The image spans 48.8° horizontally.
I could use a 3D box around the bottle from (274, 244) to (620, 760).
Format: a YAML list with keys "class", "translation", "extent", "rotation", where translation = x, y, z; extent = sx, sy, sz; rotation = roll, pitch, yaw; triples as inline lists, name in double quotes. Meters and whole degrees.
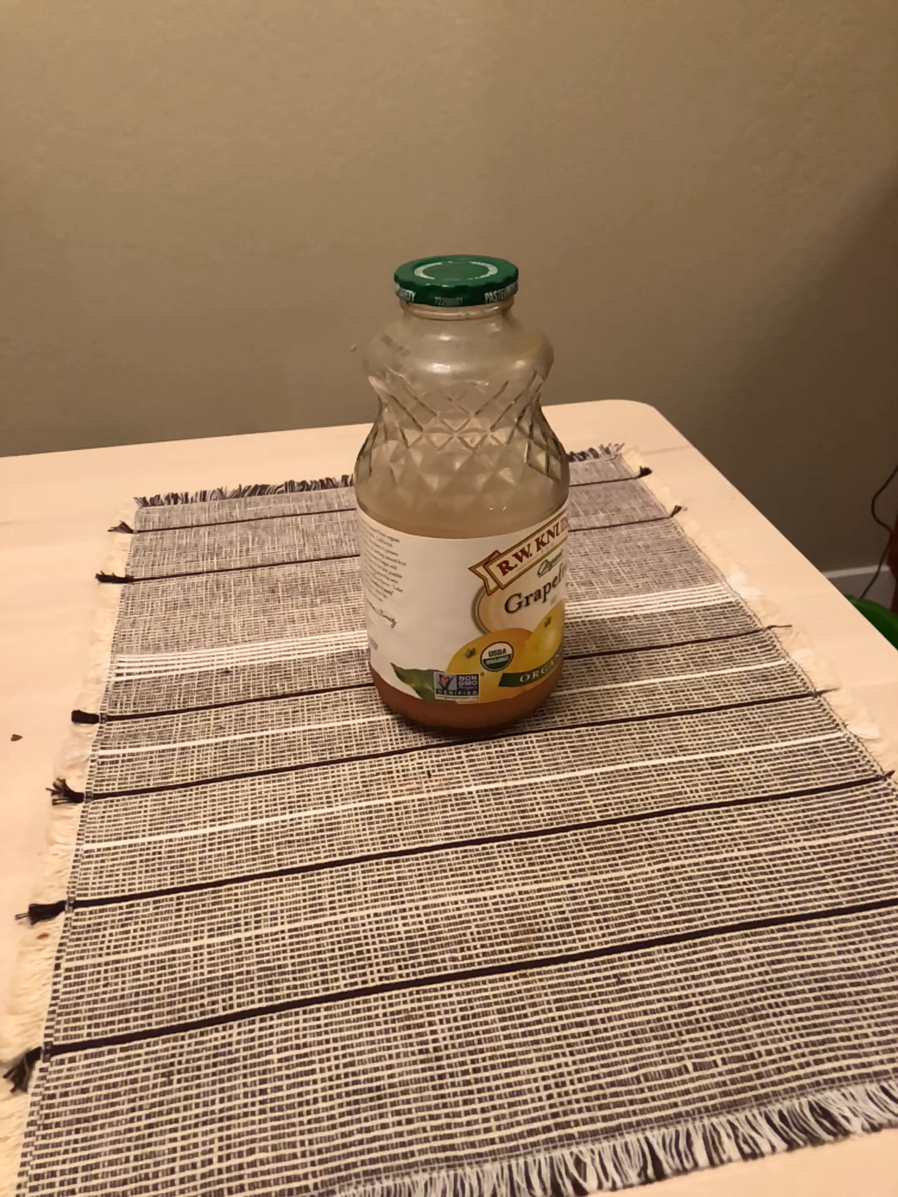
- class: "bottle"
  translation: [0.005, -0.046, 0.444]
  extent: [0.100, 0.189, 0.101]
  rotation: [-2, 31, 1]
